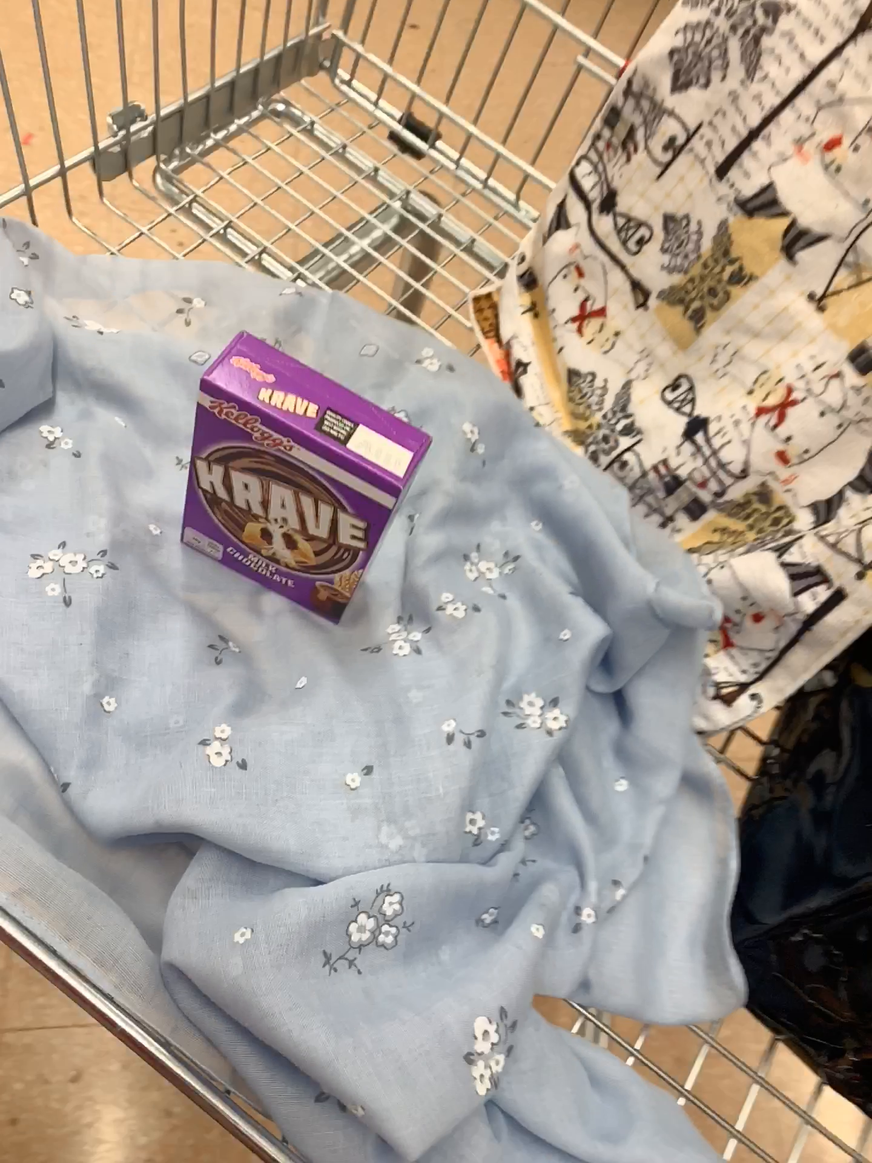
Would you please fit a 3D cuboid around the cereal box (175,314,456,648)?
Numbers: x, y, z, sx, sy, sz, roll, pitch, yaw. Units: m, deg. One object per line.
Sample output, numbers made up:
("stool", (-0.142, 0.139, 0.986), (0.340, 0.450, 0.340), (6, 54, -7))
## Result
("cereal box", (-0.059, -0.036, 0.390), (0.090, 0.129, 0.040), (29, 55, -2))
